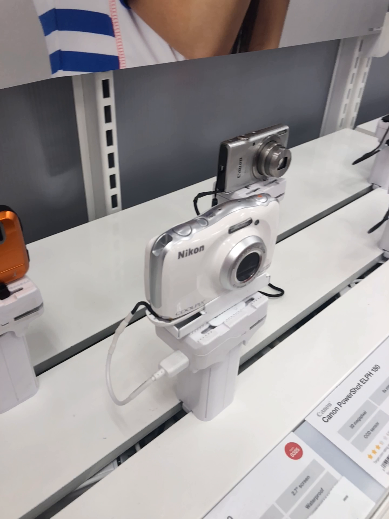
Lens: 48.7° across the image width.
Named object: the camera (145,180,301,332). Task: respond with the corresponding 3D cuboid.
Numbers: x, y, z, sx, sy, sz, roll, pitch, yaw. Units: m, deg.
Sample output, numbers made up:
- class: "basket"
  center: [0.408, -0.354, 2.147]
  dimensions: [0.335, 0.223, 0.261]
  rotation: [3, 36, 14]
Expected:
- class: "camera"
  center: [0.020, -0.006, 0.278]
  dimensions: [0.106, 0.056, 0.032]
  rotation: [-27, 46, -35]
